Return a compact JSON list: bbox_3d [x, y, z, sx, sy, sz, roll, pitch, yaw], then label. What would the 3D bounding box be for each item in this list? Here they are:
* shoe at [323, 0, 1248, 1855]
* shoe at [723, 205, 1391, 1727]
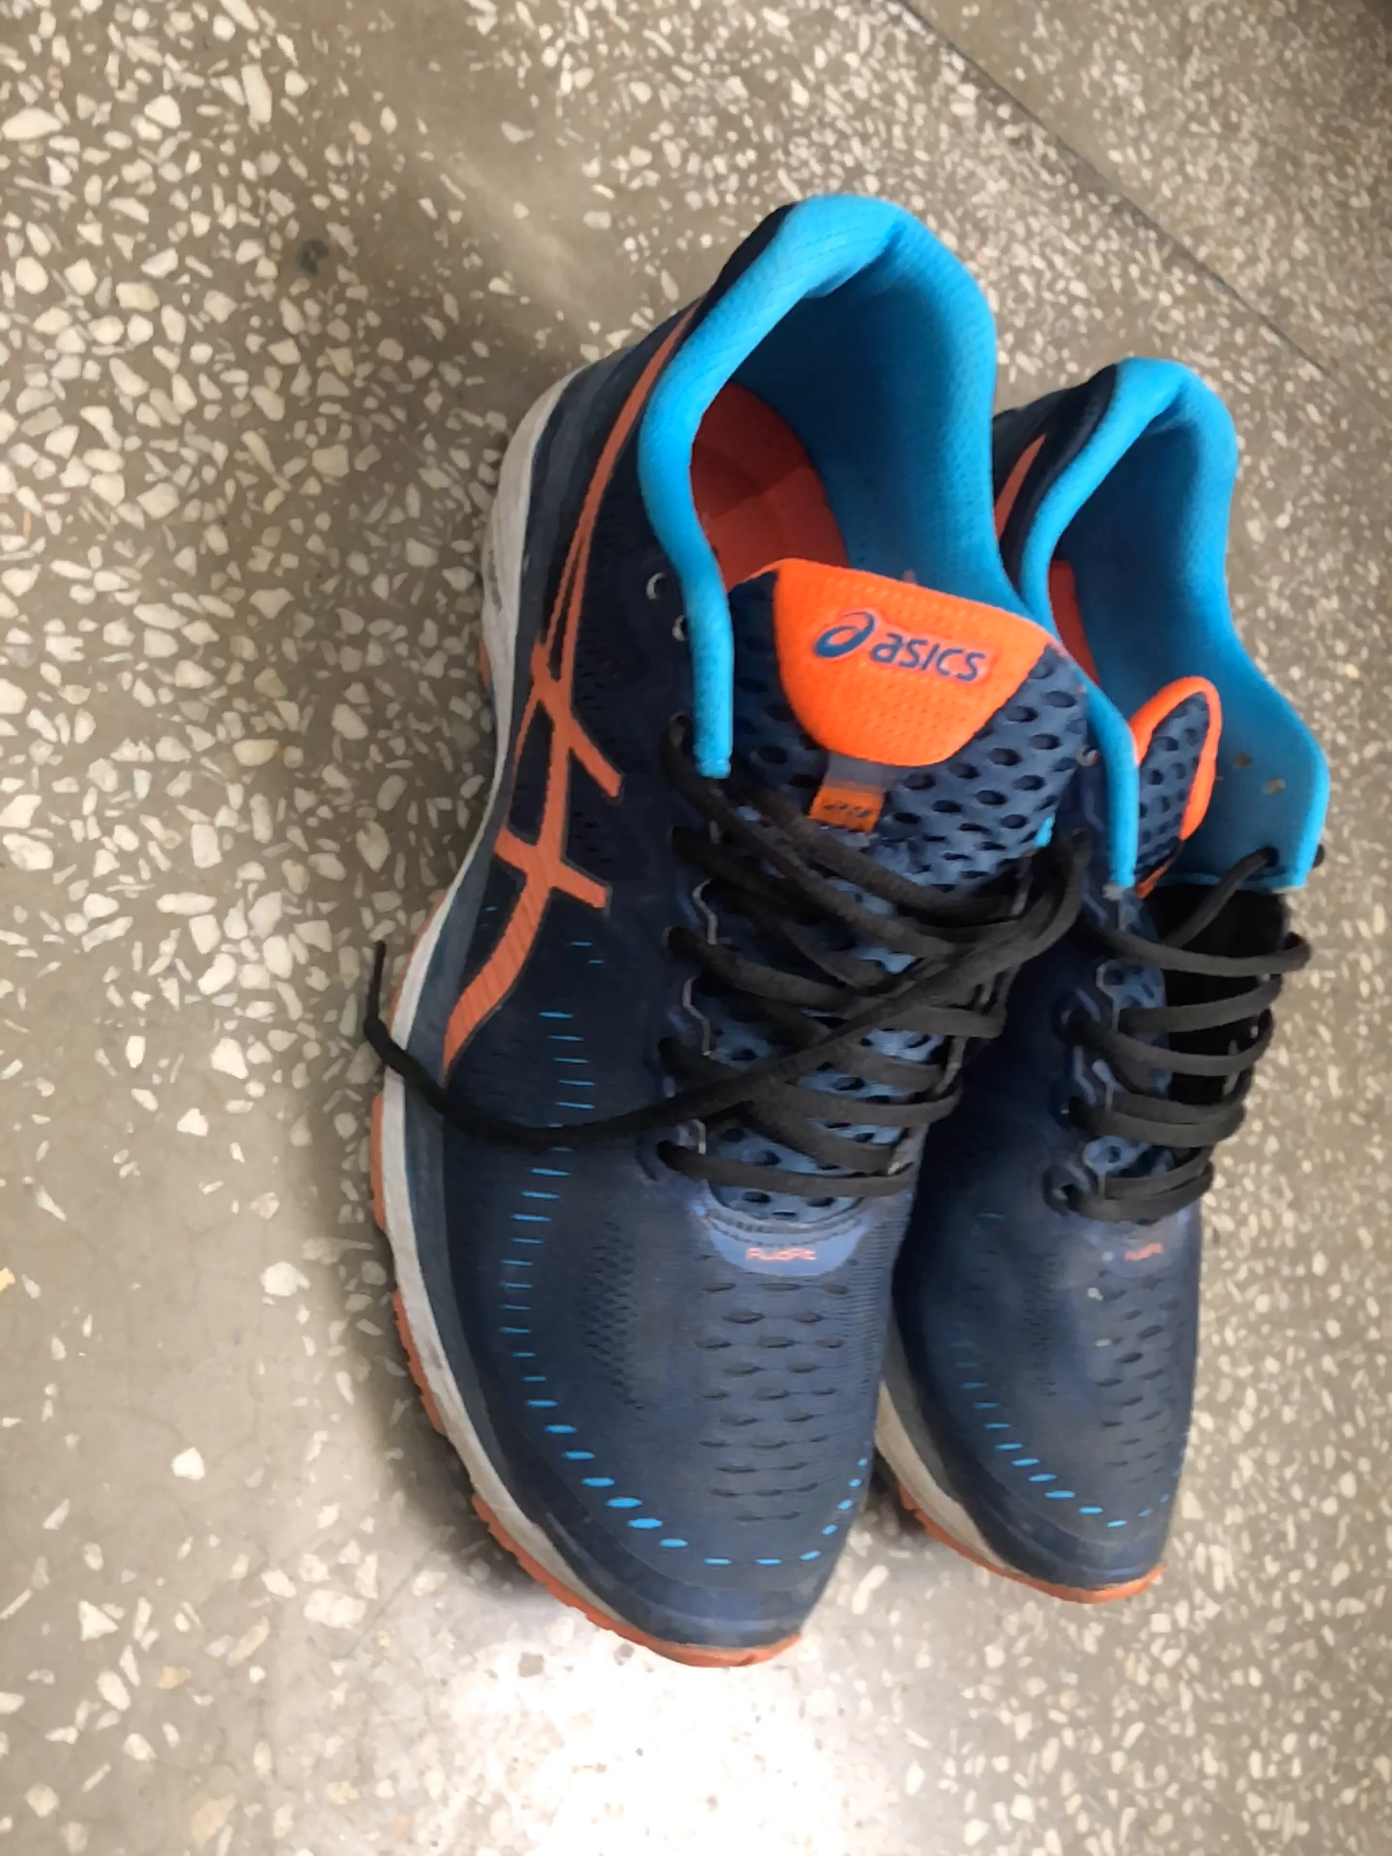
[{"bbox_3d":[0.006,-0.004,0.296,0.118,0.100,0.288,8,72,-35],"label":"shoe"},{"bbox_3d":[0.095,0.007,0.359,0.118,0.100,0.288,6,73,-35],"label":"shoe"}]
